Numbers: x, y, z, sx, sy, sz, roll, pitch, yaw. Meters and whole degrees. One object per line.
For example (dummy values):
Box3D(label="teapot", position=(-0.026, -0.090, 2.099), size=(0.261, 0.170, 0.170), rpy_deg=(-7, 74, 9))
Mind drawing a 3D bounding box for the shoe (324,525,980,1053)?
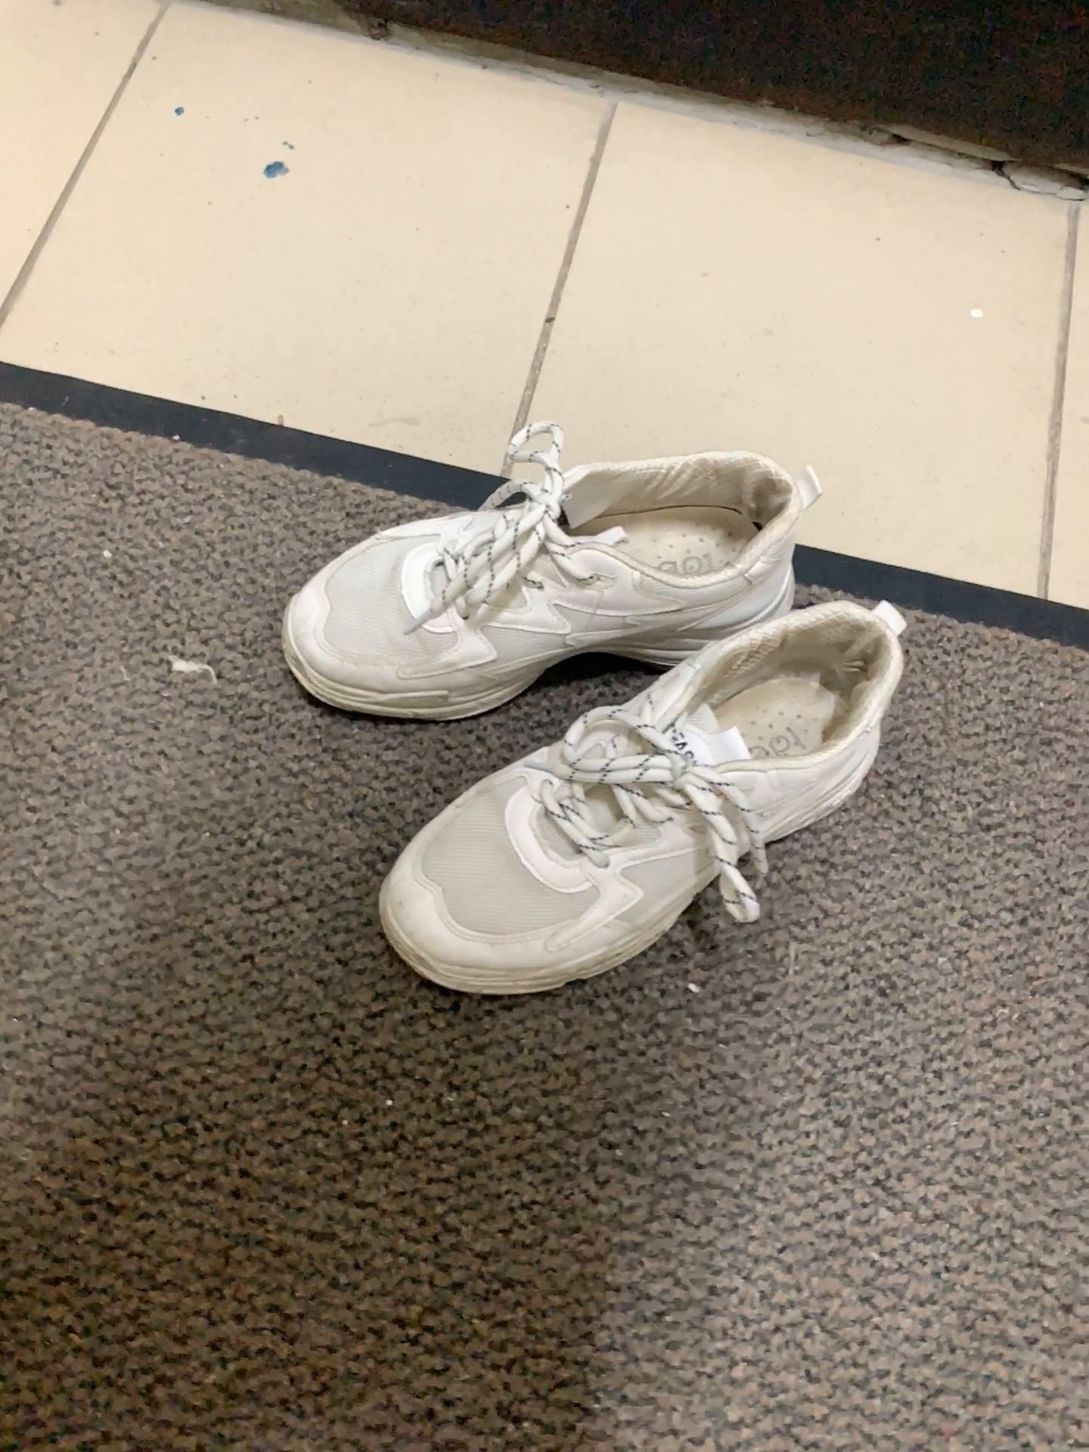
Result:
Box3D(label="shoe", position=(0.040, 0.033, 0.486), size=(0.230, 0.140, 0.100), rpy_deg=(-25, 71, -13))

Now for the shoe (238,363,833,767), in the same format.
Box3D(label="shoe", position=(-0.009, -0.070, 0.524), size=(0.230, 0.140, 0.100), rpy_deg=(-9, 68, -7))
